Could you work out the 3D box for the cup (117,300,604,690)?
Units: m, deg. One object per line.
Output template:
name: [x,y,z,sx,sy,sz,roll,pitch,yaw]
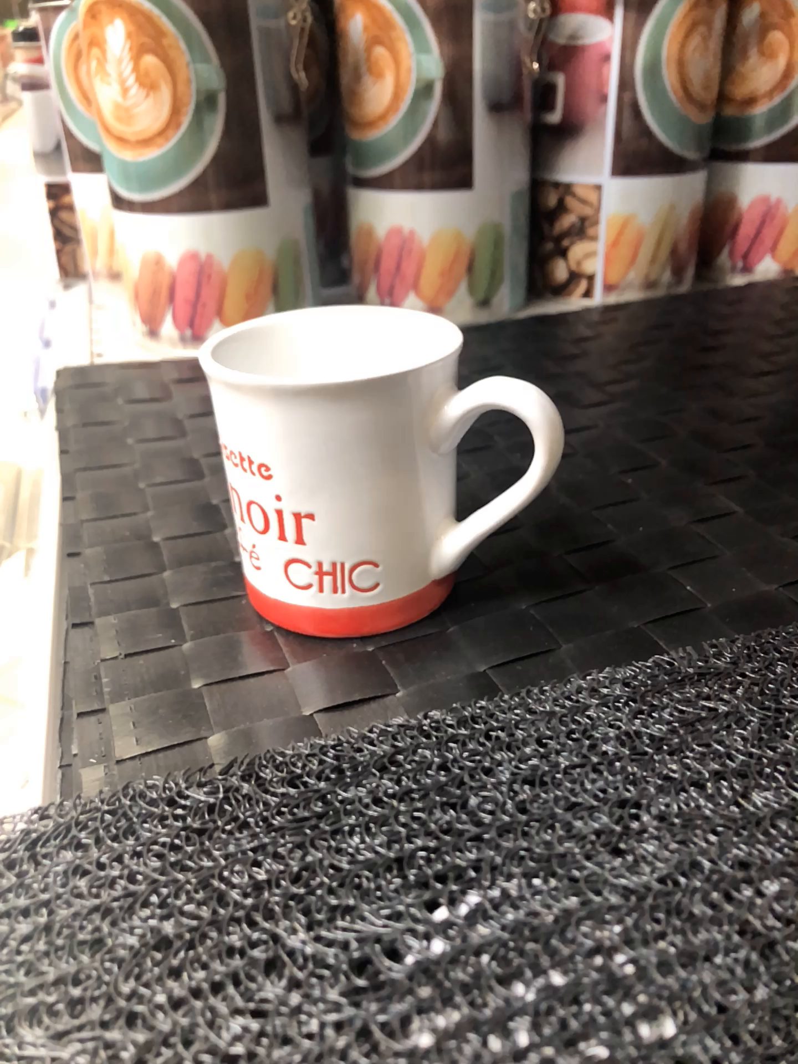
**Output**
cup: [-0.005,-0.016,0.228,0.096,0.064,0.068,9,31,23]
